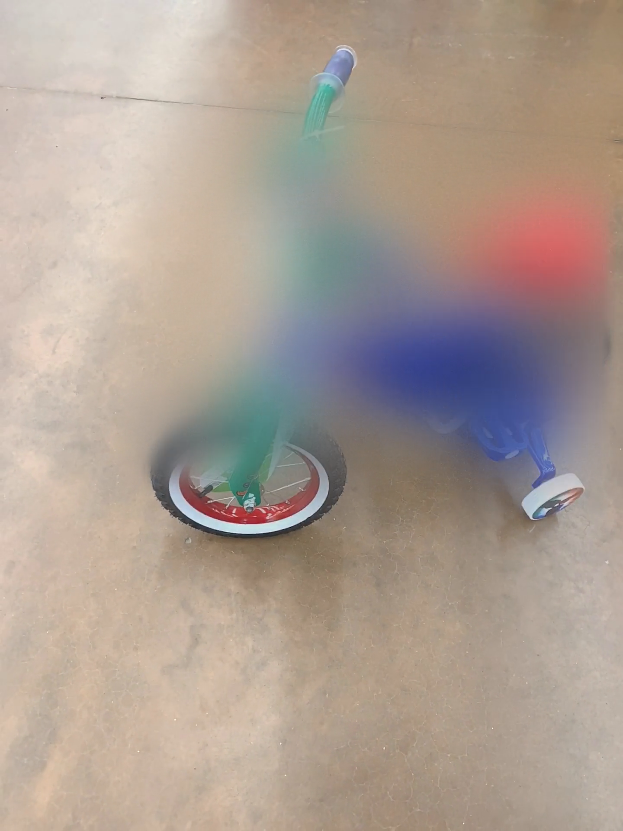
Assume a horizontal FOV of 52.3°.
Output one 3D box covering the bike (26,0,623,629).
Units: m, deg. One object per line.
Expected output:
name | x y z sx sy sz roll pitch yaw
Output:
bike | 0.138 -0.135 0.899 0.775 0.670 0.461 -14 58 -14
